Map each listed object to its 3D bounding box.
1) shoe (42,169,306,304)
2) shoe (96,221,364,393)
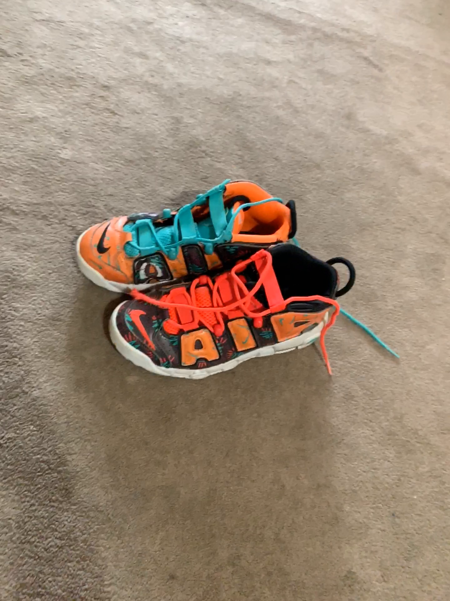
[{"bbox_3d":[-0.054,-0.069,0.502,0.250,0.089,0.101,-4,64,-9],"label":"shoe"},{"bbox_3d":[-0.001,0.007,0.472,0.230,0.109,0.101,-9,62,-11],"label":"shoe"}]
